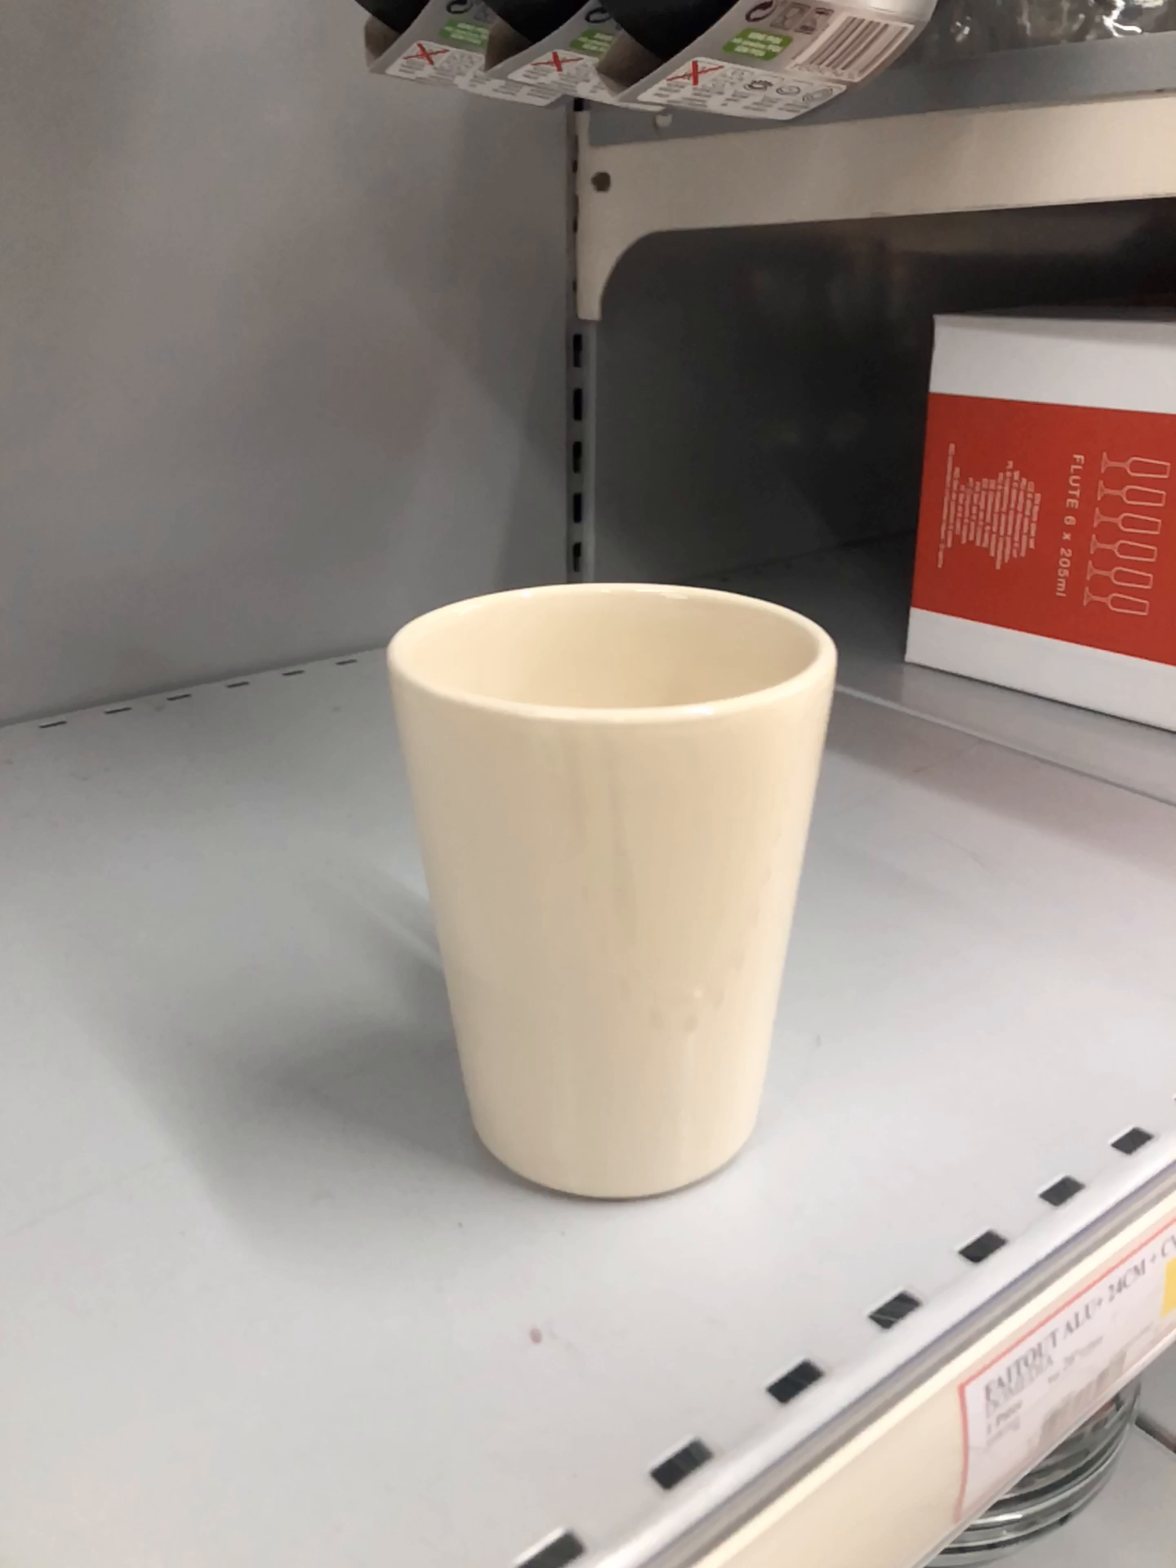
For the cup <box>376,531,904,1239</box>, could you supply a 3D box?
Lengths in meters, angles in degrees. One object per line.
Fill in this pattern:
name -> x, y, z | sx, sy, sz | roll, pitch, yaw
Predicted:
cup -> 0.002, 0.010, 0.273 | 0.082, 0.099, 0.120 | -3, 23, -6
